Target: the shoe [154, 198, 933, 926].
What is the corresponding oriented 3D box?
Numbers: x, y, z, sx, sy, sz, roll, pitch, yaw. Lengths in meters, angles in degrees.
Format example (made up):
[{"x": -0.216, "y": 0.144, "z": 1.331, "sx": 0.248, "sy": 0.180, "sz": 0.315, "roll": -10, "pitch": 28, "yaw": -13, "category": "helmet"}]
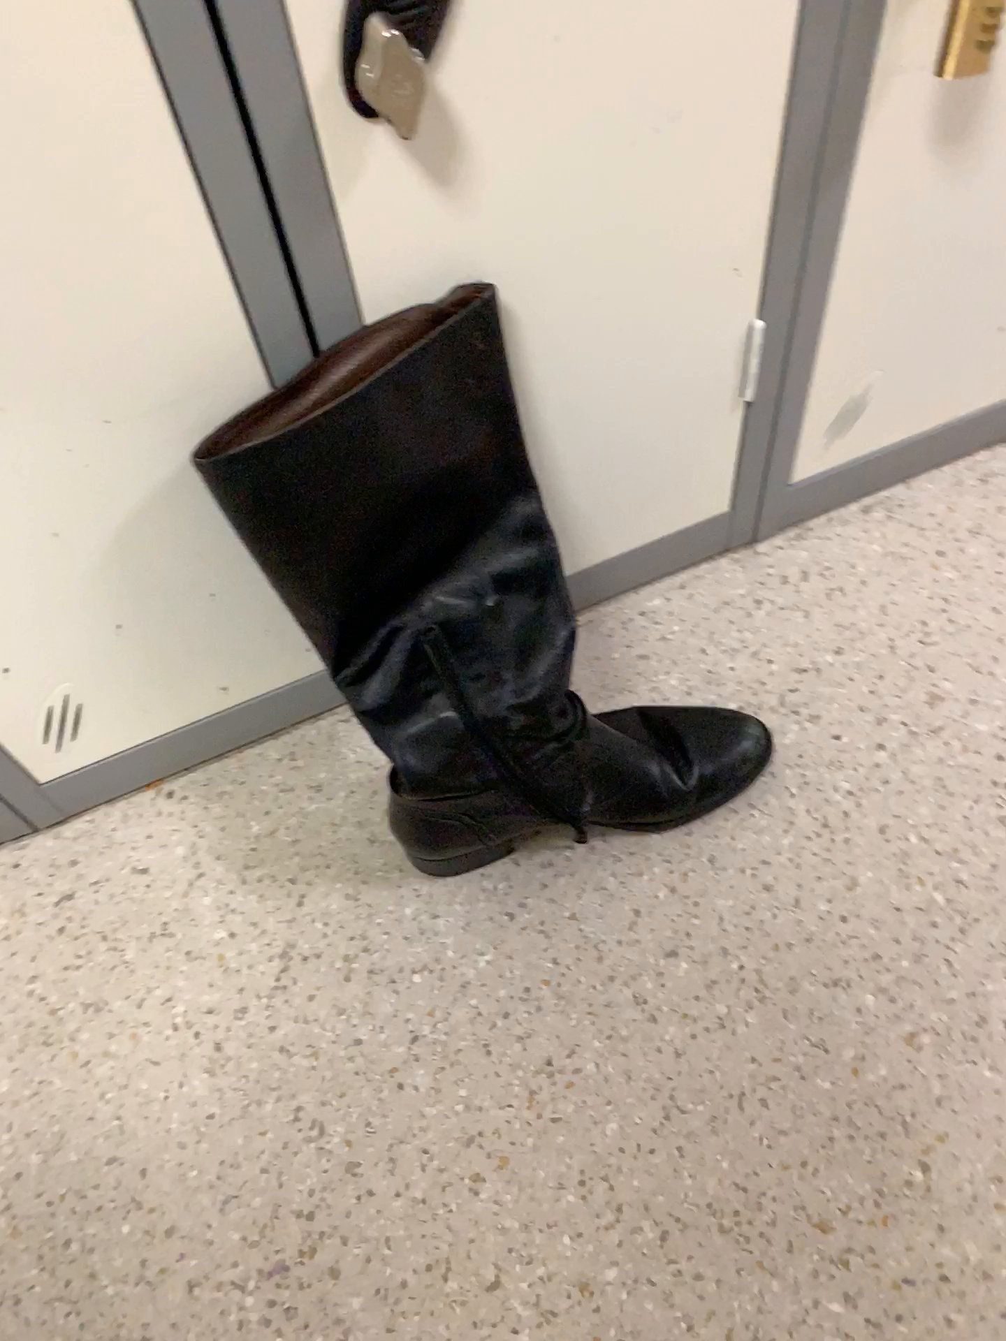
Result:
[{"x": 0.021, "y": -0.035, "z": 0.590, "sx": 0.313, "sy": 0.331, "sz": 0.169, "roll": -15, "pitch": 54, "yaw": -3, "category": "shoe"}]
